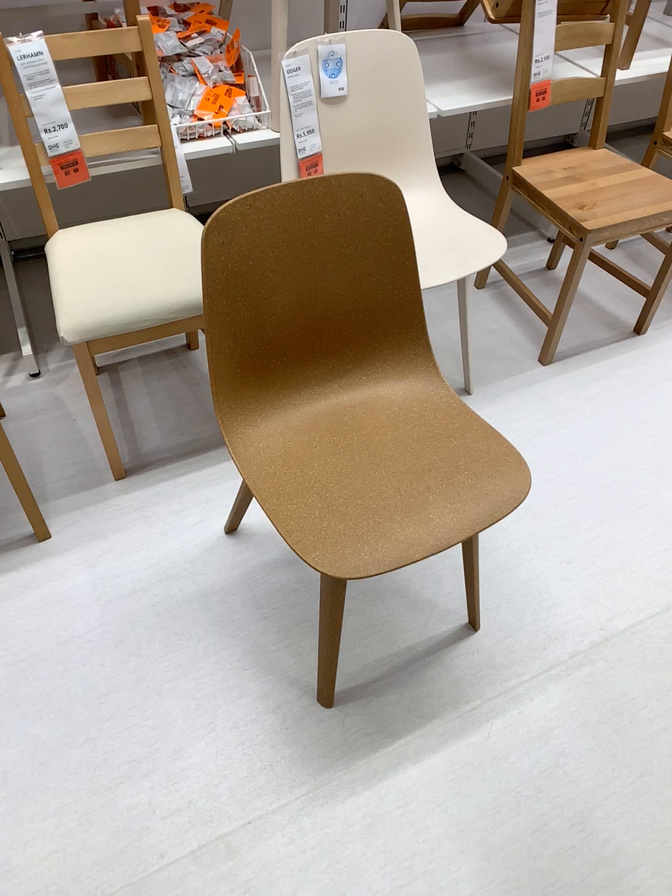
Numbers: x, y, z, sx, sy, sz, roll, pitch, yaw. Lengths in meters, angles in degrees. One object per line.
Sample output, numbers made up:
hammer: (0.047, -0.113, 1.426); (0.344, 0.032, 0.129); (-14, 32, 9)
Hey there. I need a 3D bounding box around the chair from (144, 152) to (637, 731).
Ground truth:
chair: (0.029, 0.000, 1.216); (0.460, 0.757, 0.562); (-19, 50, -20)
